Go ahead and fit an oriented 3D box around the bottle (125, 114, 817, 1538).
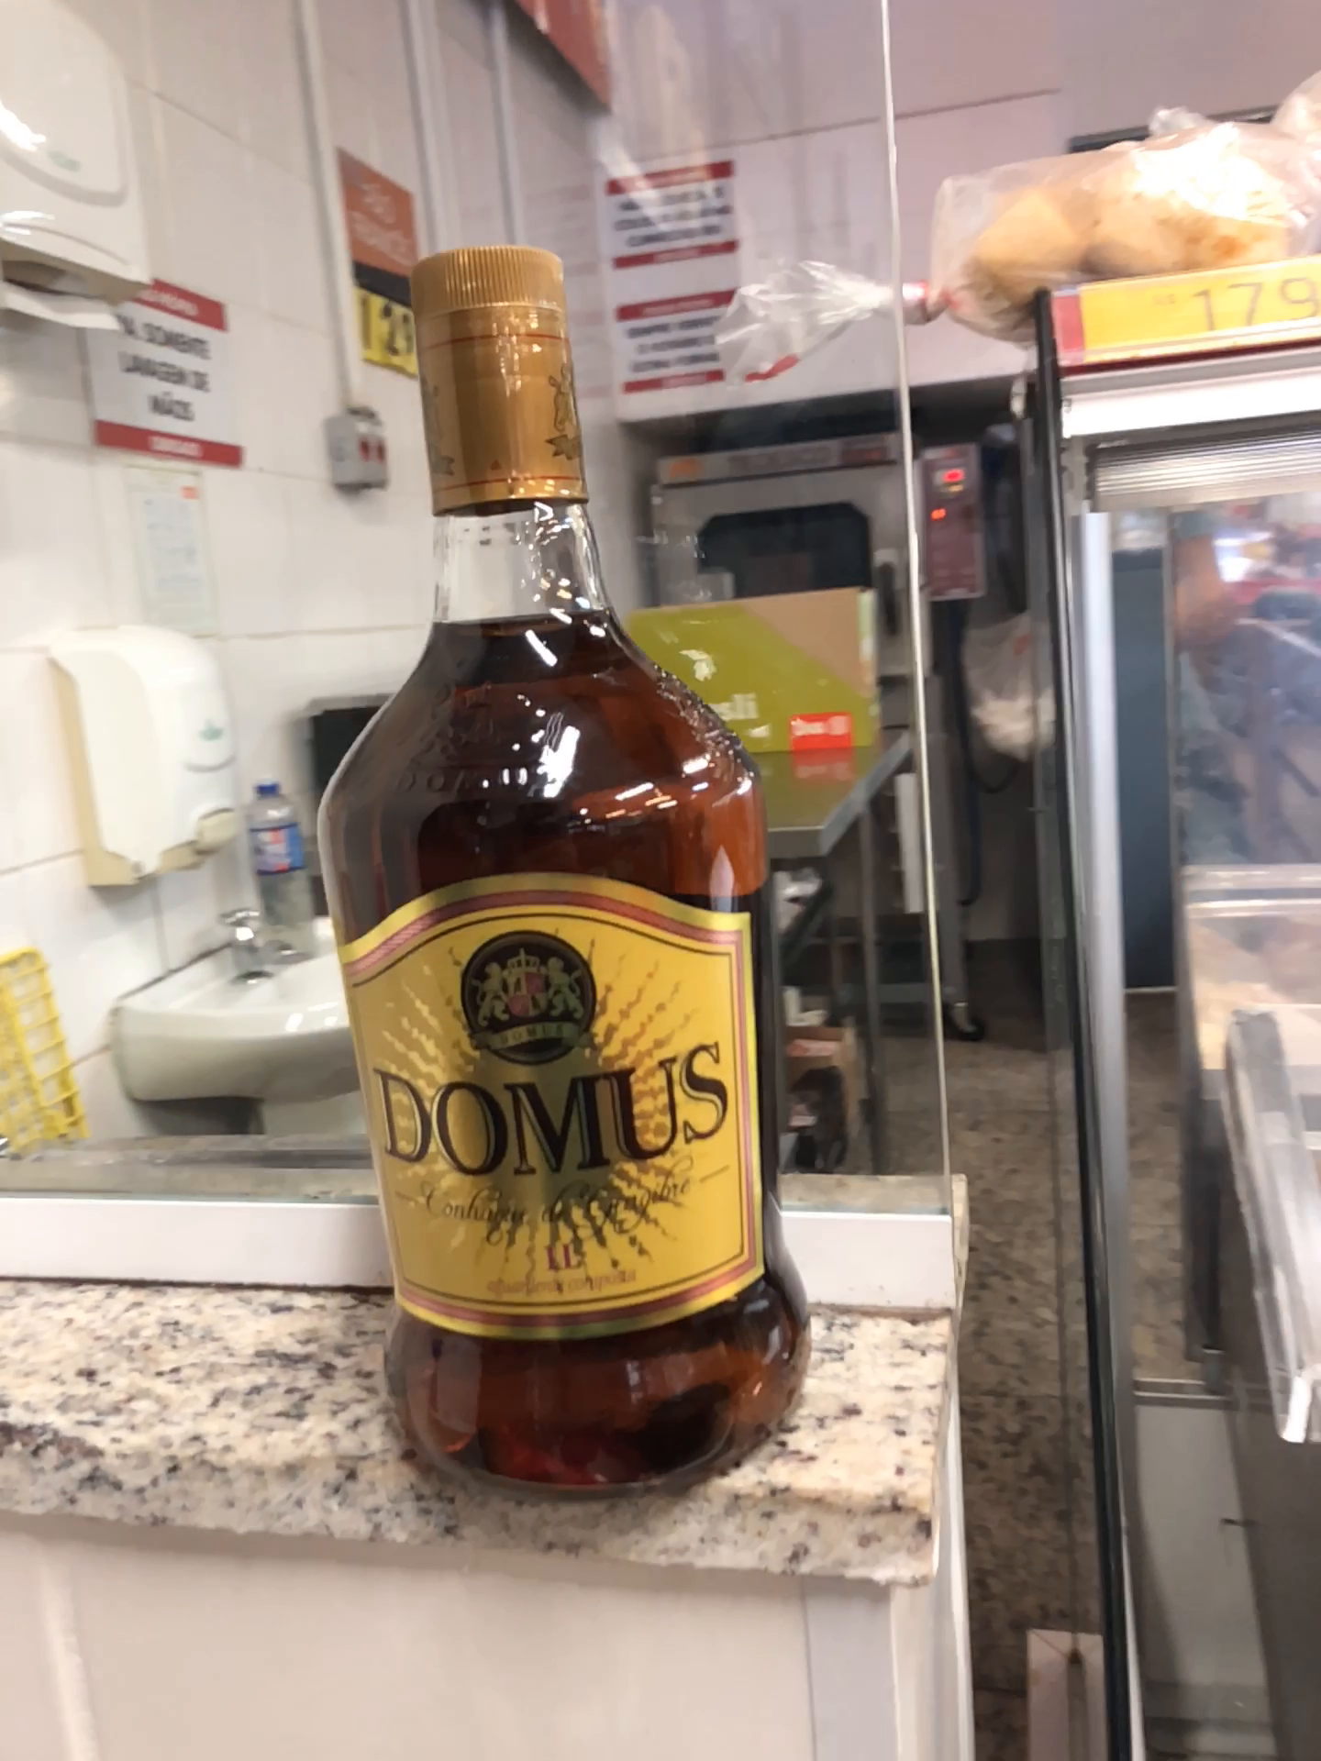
[{"bbox_3d":[-0.032,-0.010,0.327,0.100,0.259,0.110,-6,9,0],"label":"bottle"}]
